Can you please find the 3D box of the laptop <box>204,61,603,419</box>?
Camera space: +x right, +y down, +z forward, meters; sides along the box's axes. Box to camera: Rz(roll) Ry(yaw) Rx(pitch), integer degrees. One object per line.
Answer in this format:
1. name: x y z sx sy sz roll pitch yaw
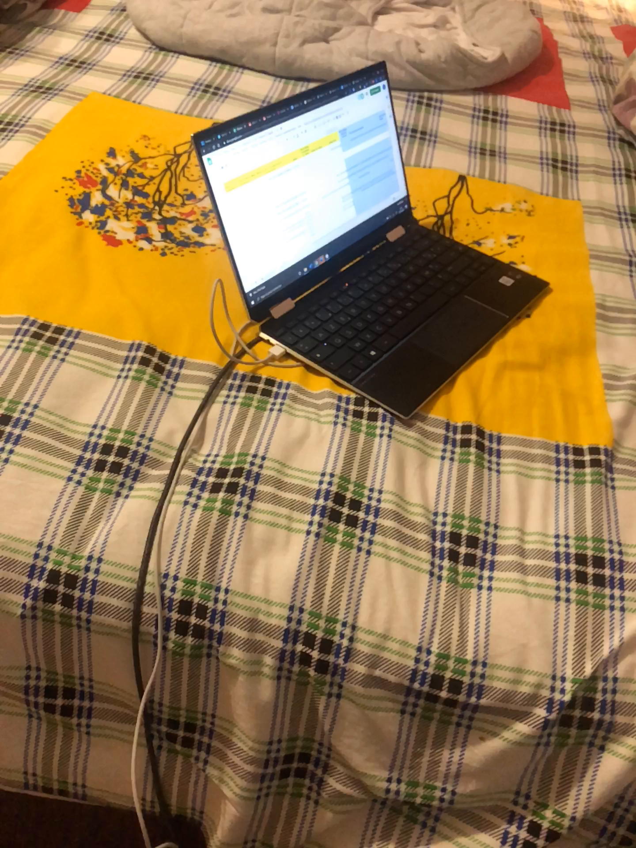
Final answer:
1. laptop: 0.077 -0.198 0.685 0.254 0.158 0.275 34 54 24
